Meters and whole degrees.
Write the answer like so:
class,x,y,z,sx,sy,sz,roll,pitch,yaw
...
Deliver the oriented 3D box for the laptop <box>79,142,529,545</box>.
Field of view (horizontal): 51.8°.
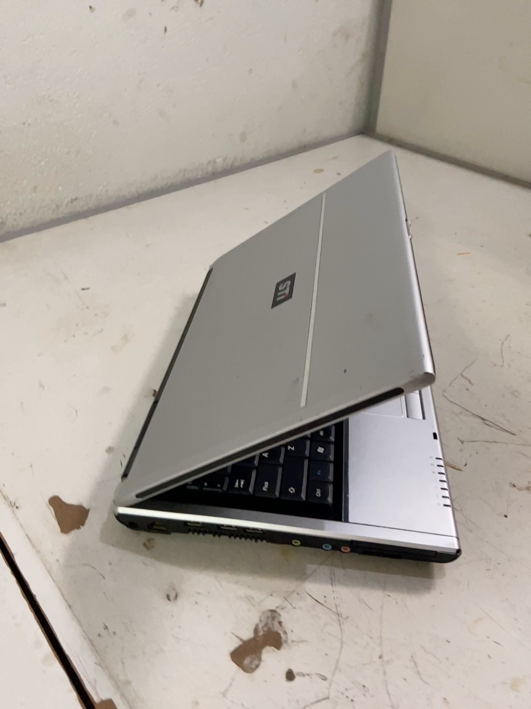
class,x,y,z,sx,sy,sz,roll,pitch,yaw
laptop,0.035,-0.043,0.442,0.226,0.144,0.321,5,39,6
